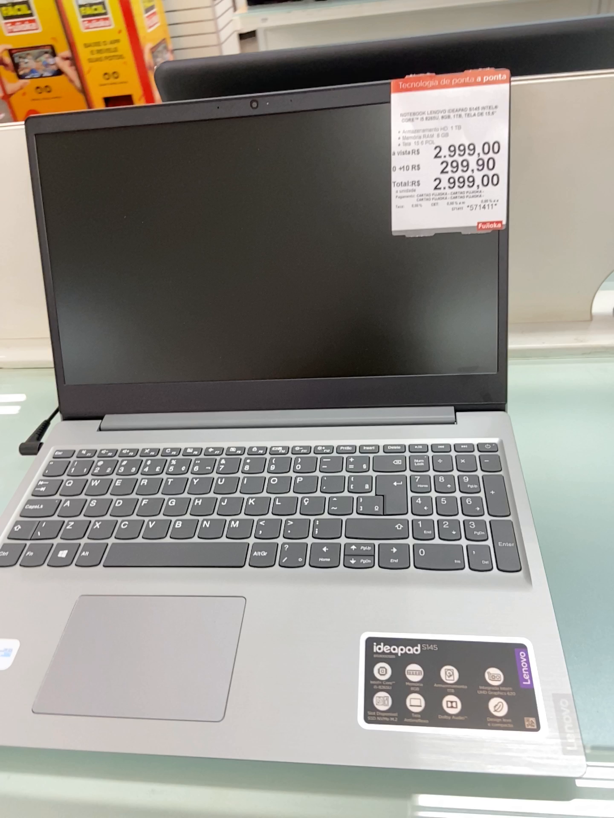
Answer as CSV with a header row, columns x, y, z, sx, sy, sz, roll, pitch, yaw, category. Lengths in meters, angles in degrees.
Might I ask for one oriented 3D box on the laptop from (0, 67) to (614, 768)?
x,y,z,sx,sy,sz,roll,pitch,yaw,category
-0.048,-0.033,0.380,0.353,0.195,0.371,-2,41,8,laptop
